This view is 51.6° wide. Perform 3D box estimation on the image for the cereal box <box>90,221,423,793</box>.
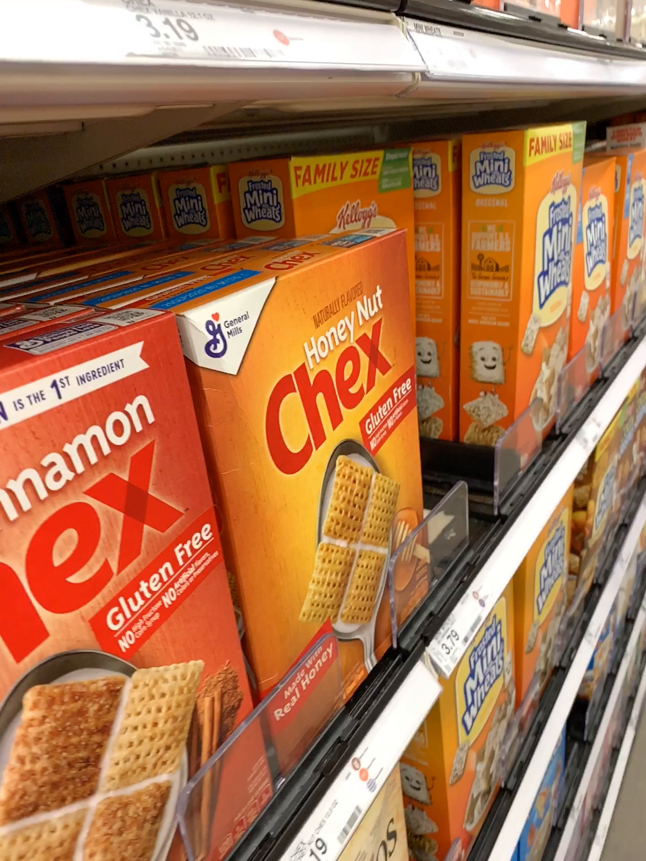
[{"bbox_3d":[-0.012,0.032,0.409,0.060,0.279,0.201,10,28,31],"label":"cereal box"}]
